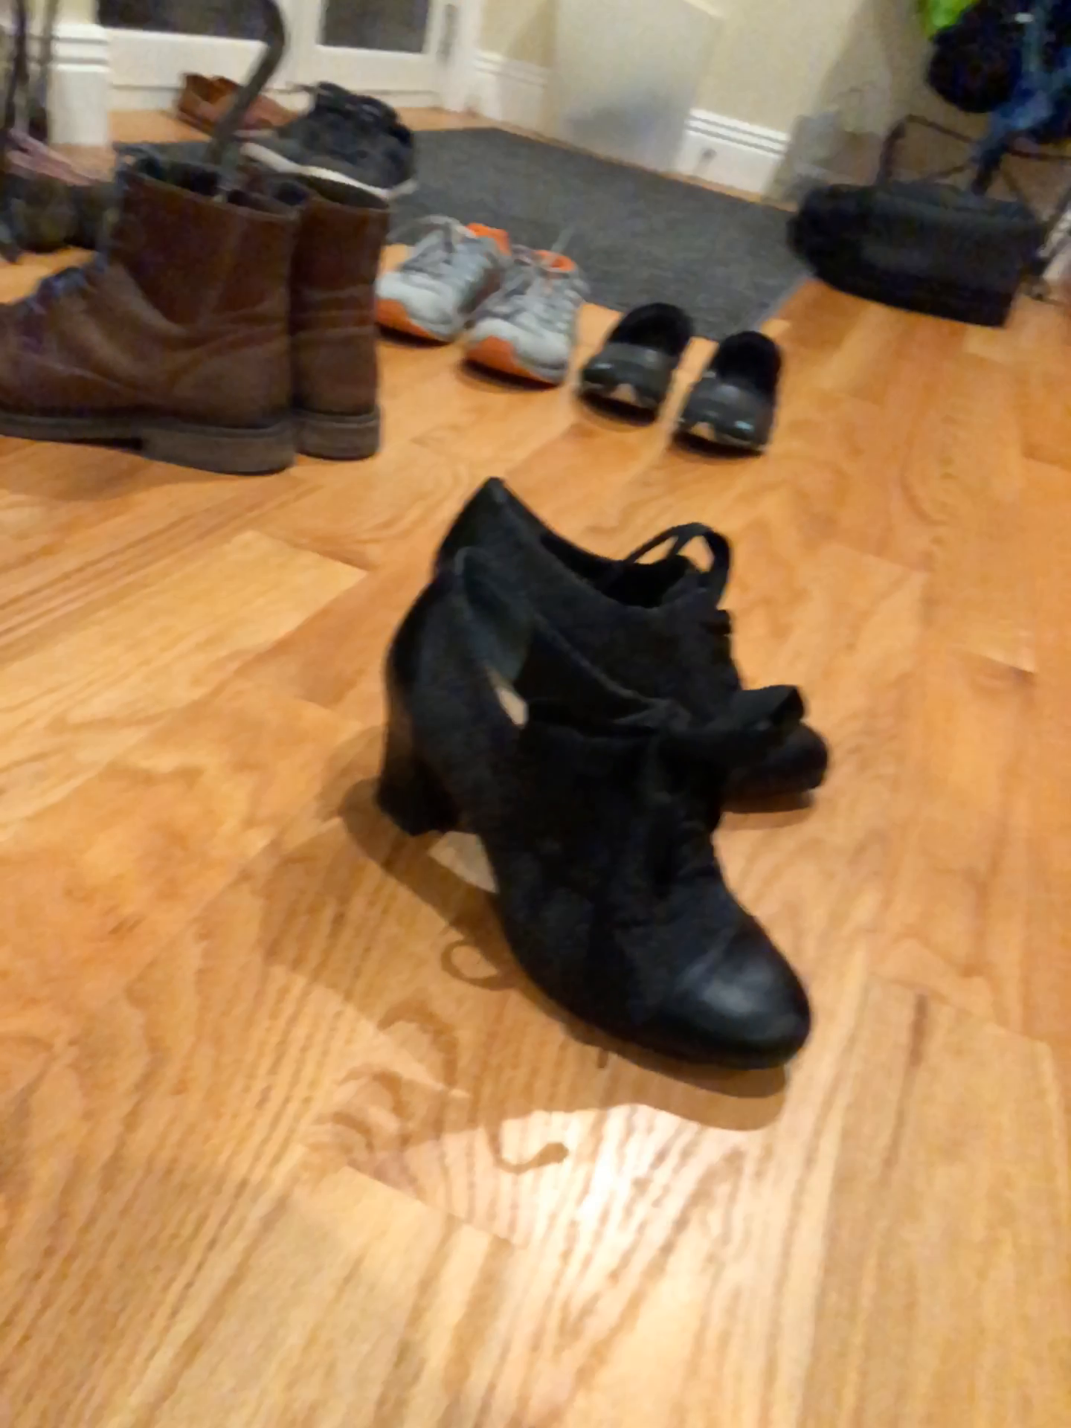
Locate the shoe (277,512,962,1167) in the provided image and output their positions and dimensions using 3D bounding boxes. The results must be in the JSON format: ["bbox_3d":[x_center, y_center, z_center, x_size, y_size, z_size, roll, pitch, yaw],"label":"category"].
[{"bbox_3d":[0.018,0.033,0.446,0.223,0.125,0.094,32,35,27],"label":"shoe"}]

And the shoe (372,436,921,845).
[{"bbox_3d":[0.048,-0.036,0.571,0.223,0.125,0.088,13,31,-3],"label":"shoe"}]
